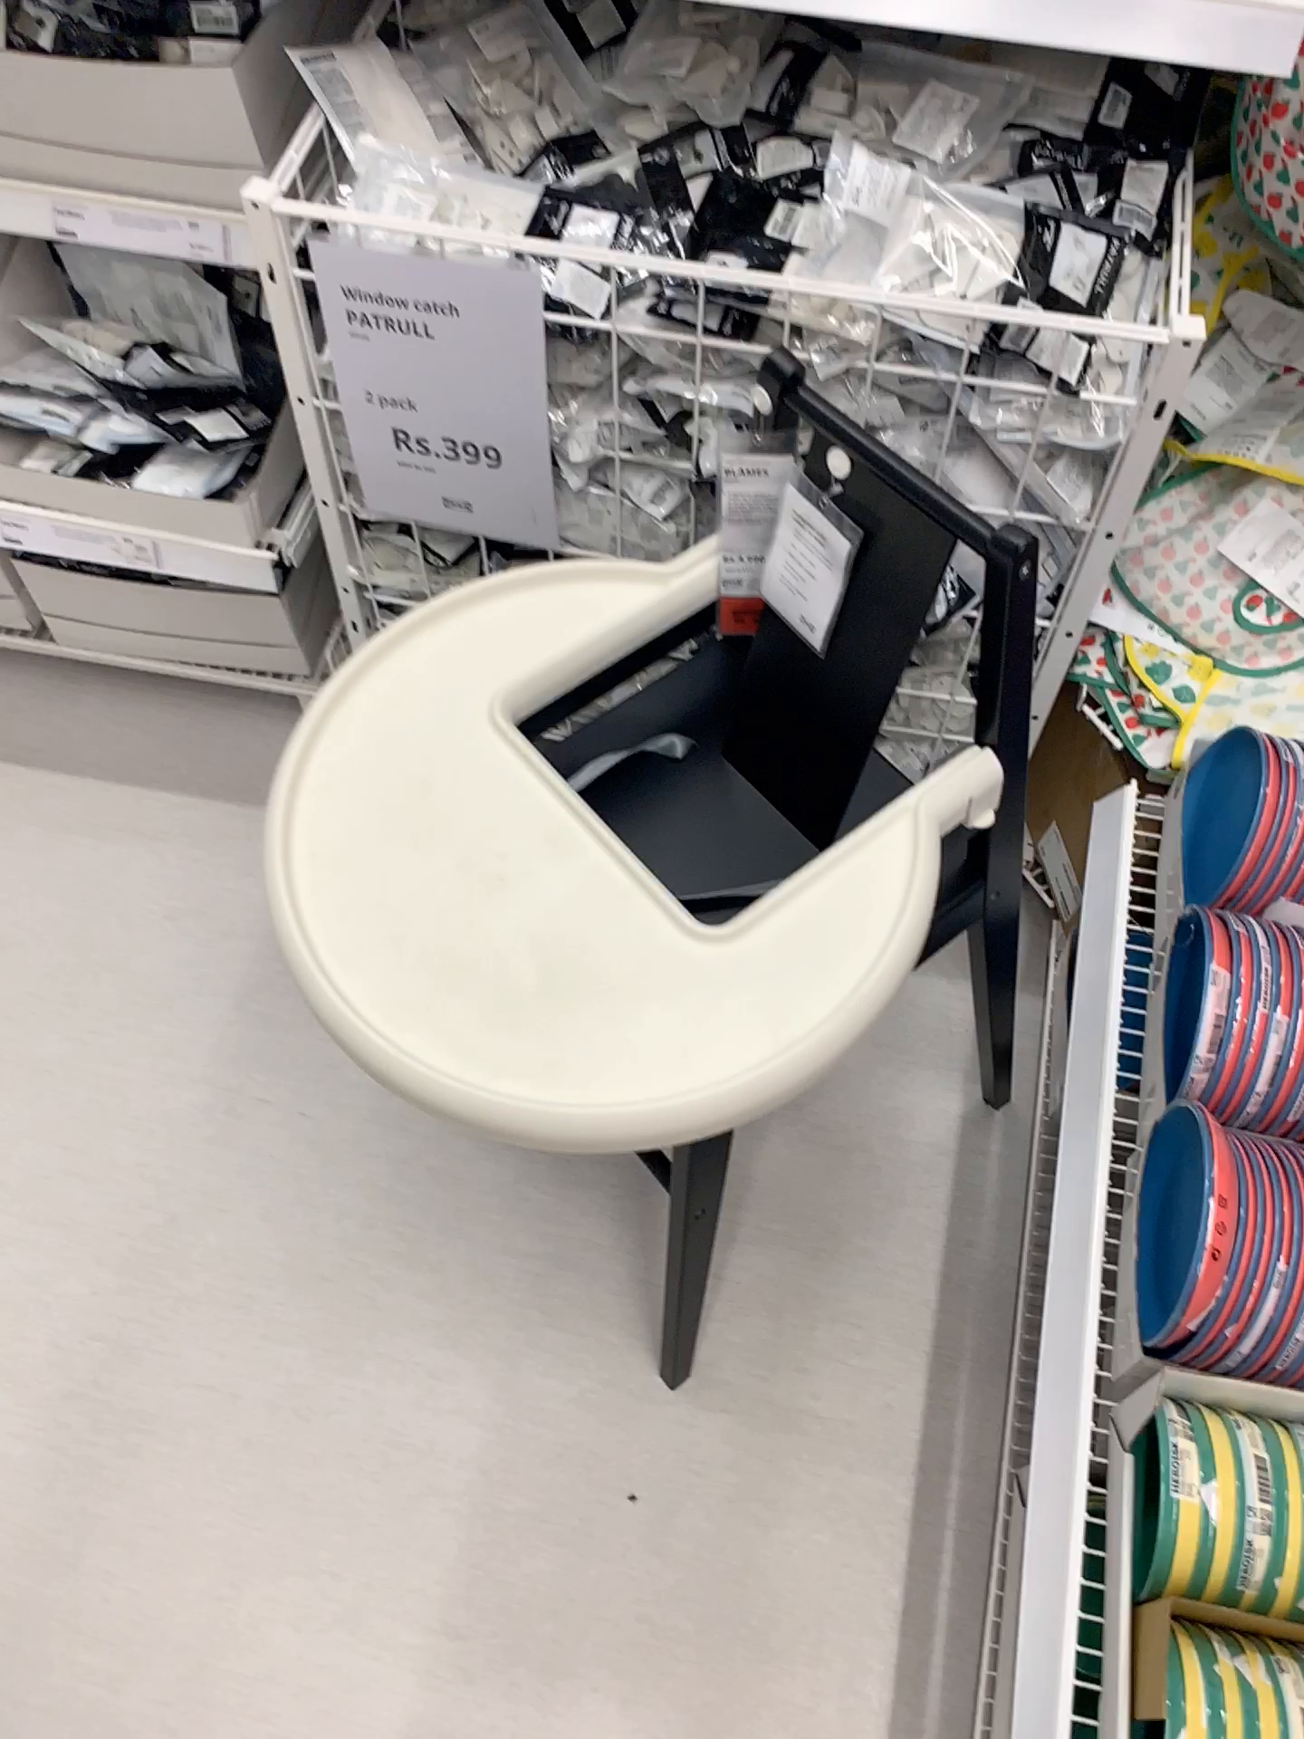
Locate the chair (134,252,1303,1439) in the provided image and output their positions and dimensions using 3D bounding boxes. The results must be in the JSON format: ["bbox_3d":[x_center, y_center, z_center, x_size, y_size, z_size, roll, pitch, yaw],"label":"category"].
[{"bbox_3d":[0.044,0.042,1.175,0.550,0.778,0.531,-34,65,-18],"label":"chair"}]
